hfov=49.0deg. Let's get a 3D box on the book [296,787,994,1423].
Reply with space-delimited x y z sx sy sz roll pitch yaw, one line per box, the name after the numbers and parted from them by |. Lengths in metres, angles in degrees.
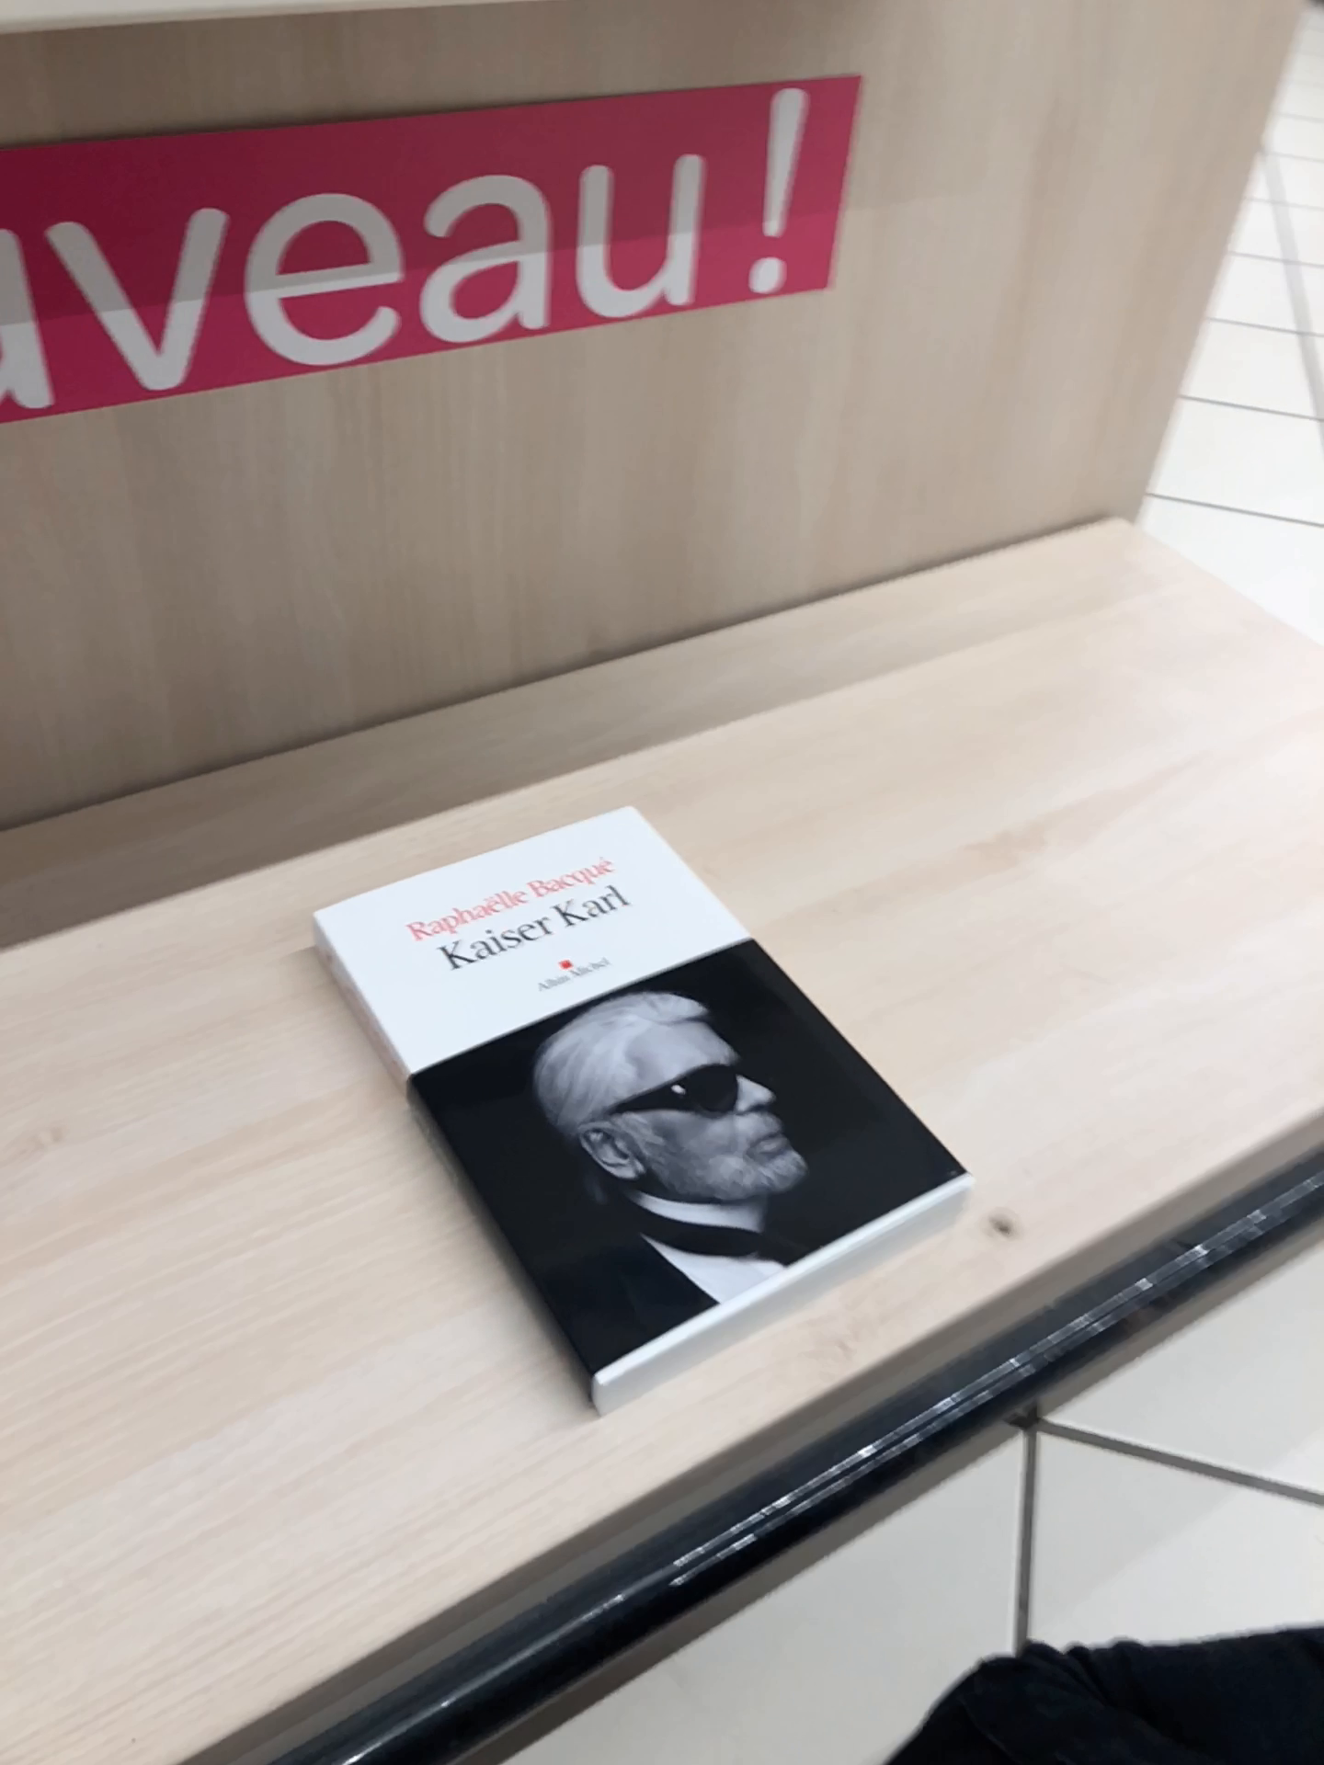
-0.015 0.059 0.517 0.151 0.030 0.220 -19 48 -28 | book
